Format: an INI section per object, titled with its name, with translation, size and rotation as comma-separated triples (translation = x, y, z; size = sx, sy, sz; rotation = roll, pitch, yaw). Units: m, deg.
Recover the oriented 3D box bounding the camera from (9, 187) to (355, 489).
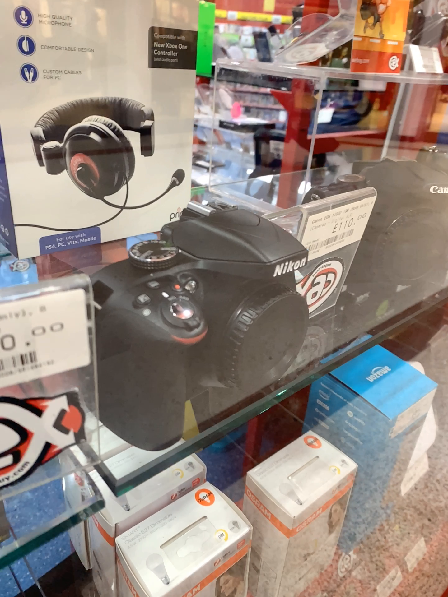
[camera]
translation = -0.019, 0.002, 0.246
size = 0.111, 0.079, 0.131
rotation = 27, 35, 35
